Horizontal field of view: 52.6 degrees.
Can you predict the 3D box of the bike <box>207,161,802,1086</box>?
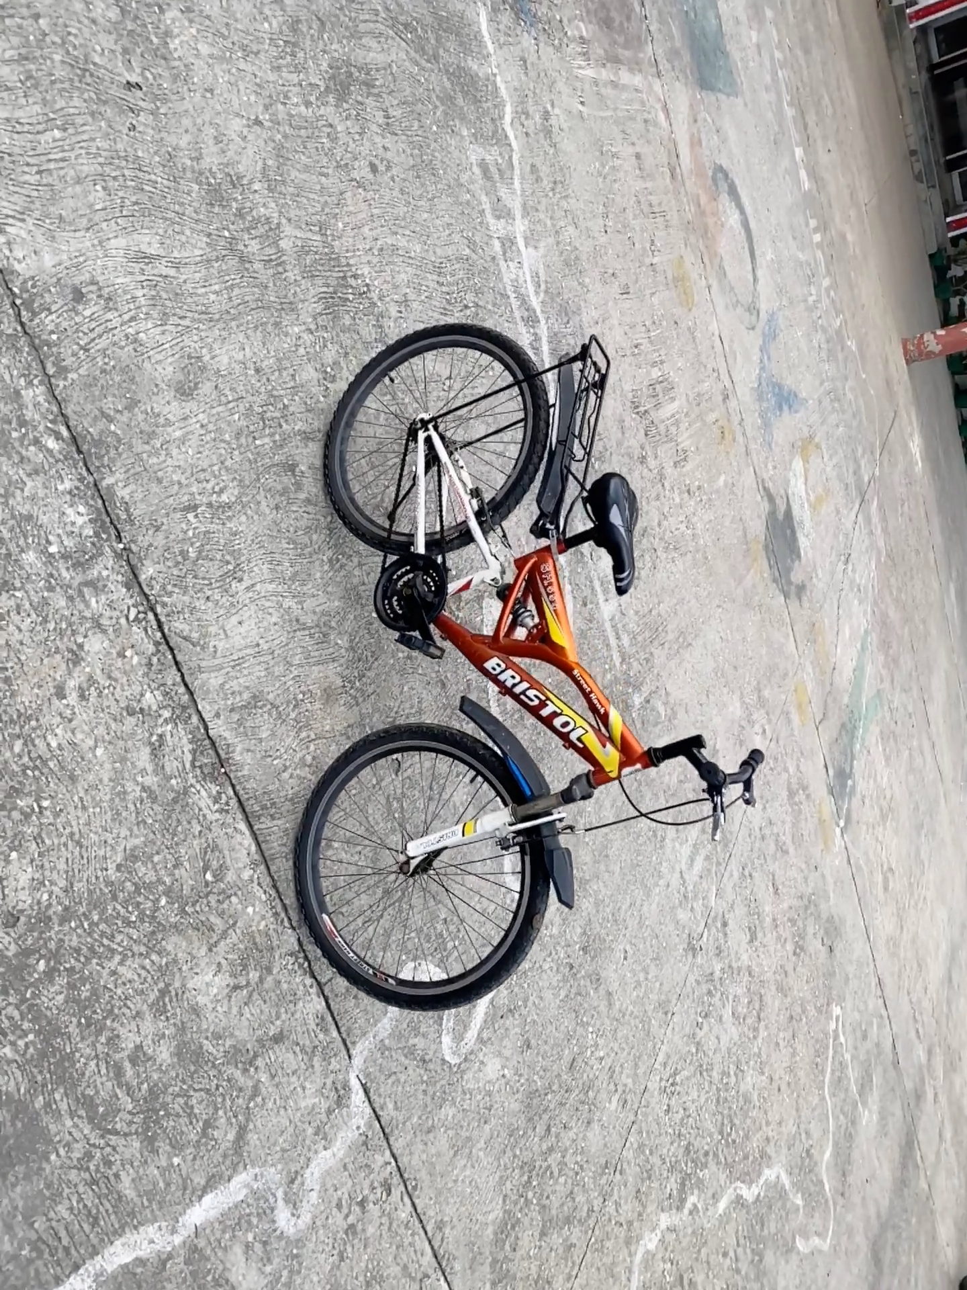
[{"bbox_3d":[0.050,-0.008,2.046,0.587,0.977,1.512,20,67,-56],"label":"bike"}]
